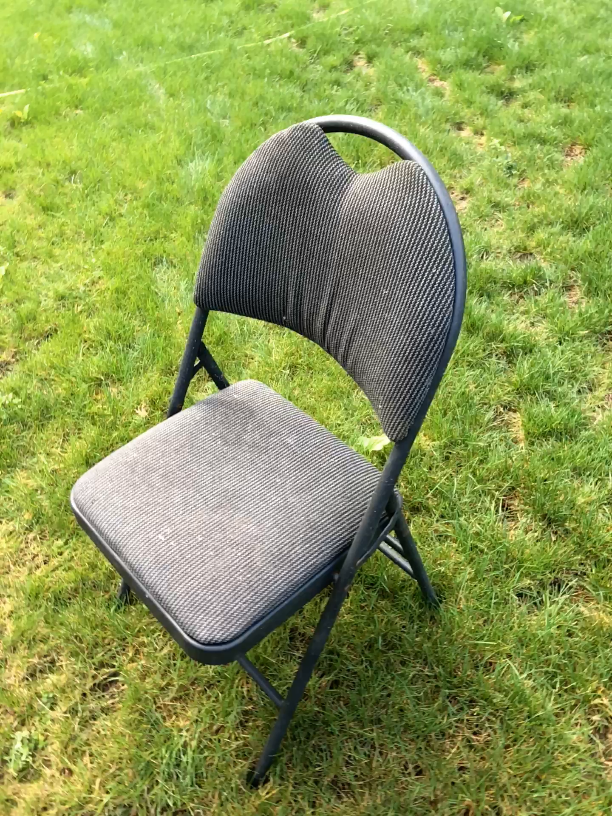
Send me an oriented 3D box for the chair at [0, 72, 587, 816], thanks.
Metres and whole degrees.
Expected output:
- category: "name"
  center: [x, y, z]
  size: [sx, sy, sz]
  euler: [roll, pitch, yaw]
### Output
- category: "chair"
  center: [-0.076, 0.062, 1.008]
  size: [0.571, 0.815, 0.532]
  euler: [-33, 52, -27]
